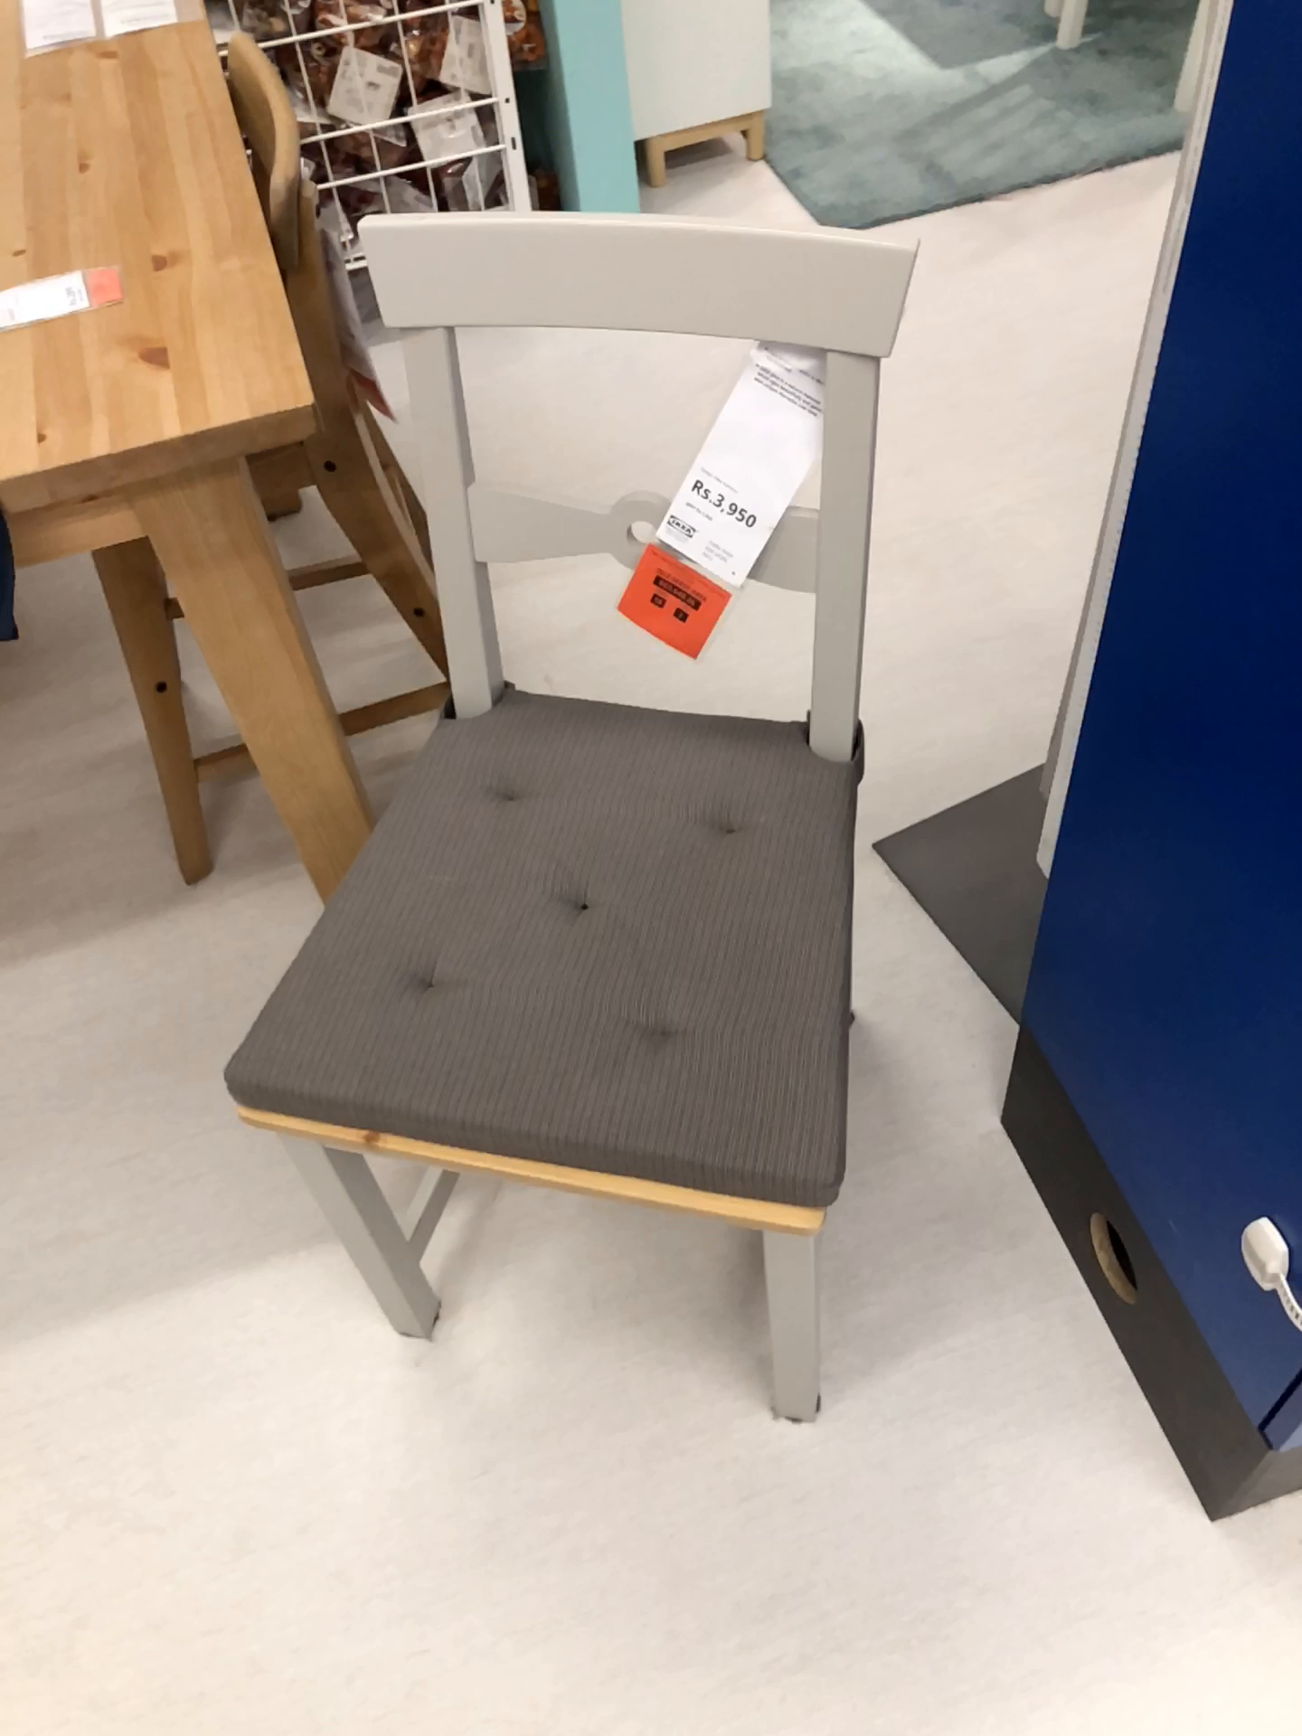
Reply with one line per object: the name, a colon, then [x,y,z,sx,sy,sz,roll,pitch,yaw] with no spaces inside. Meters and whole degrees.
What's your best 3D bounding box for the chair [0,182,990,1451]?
chair: [-0.036,0.012,1.021,0.430,0.766,0.472,8,53,12]
